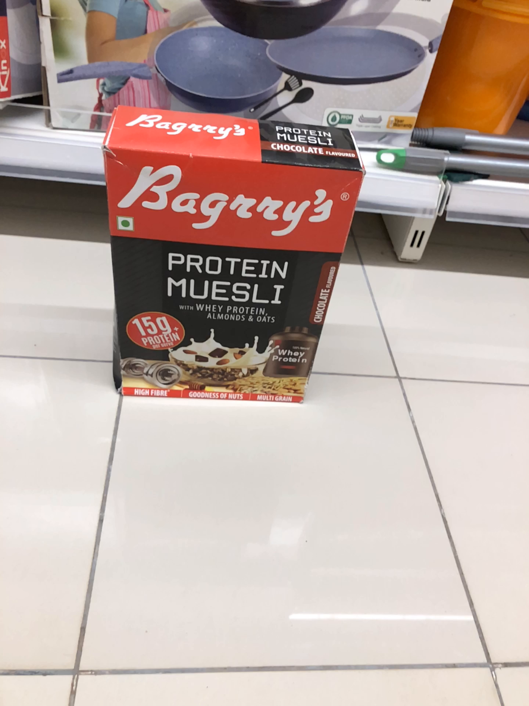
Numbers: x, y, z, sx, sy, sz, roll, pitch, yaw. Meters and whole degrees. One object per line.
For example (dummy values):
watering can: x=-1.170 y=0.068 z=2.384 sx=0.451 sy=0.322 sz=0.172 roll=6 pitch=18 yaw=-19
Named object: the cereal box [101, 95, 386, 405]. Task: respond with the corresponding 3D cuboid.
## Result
cereal box: x=-0.028 y=-0.071 z=0.496 sx=0.190 sy=0.238 sz=0.081 roll=3 pitch=42 yaw=-8
